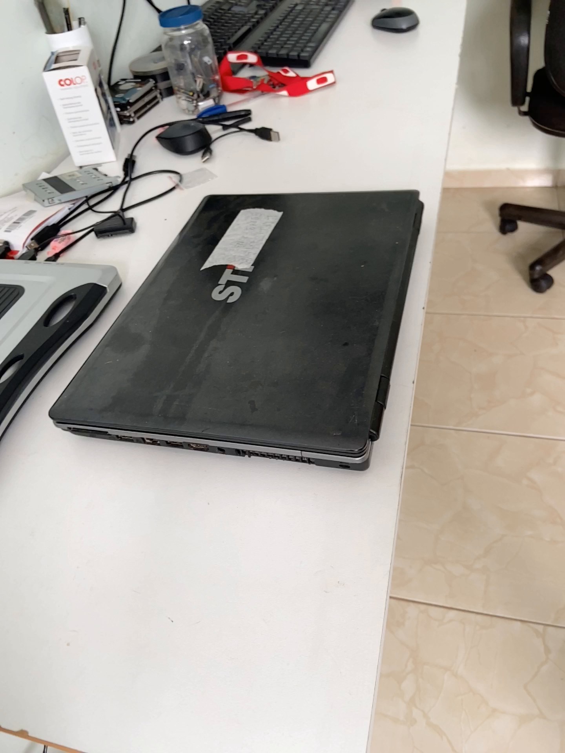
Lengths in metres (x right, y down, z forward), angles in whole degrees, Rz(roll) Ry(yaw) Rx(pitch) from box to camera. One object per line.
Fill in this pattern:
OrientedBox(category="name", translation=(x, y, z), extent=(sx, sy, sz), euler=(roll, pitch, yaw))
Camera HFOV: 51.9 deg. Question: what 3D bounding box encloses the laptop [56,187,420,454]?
OrientedBox(category="laptop", translation=(-0.015, -0.080, 0.518), extent=(0.234, 0.006, 0.339), euler=(4, 46, 17))
